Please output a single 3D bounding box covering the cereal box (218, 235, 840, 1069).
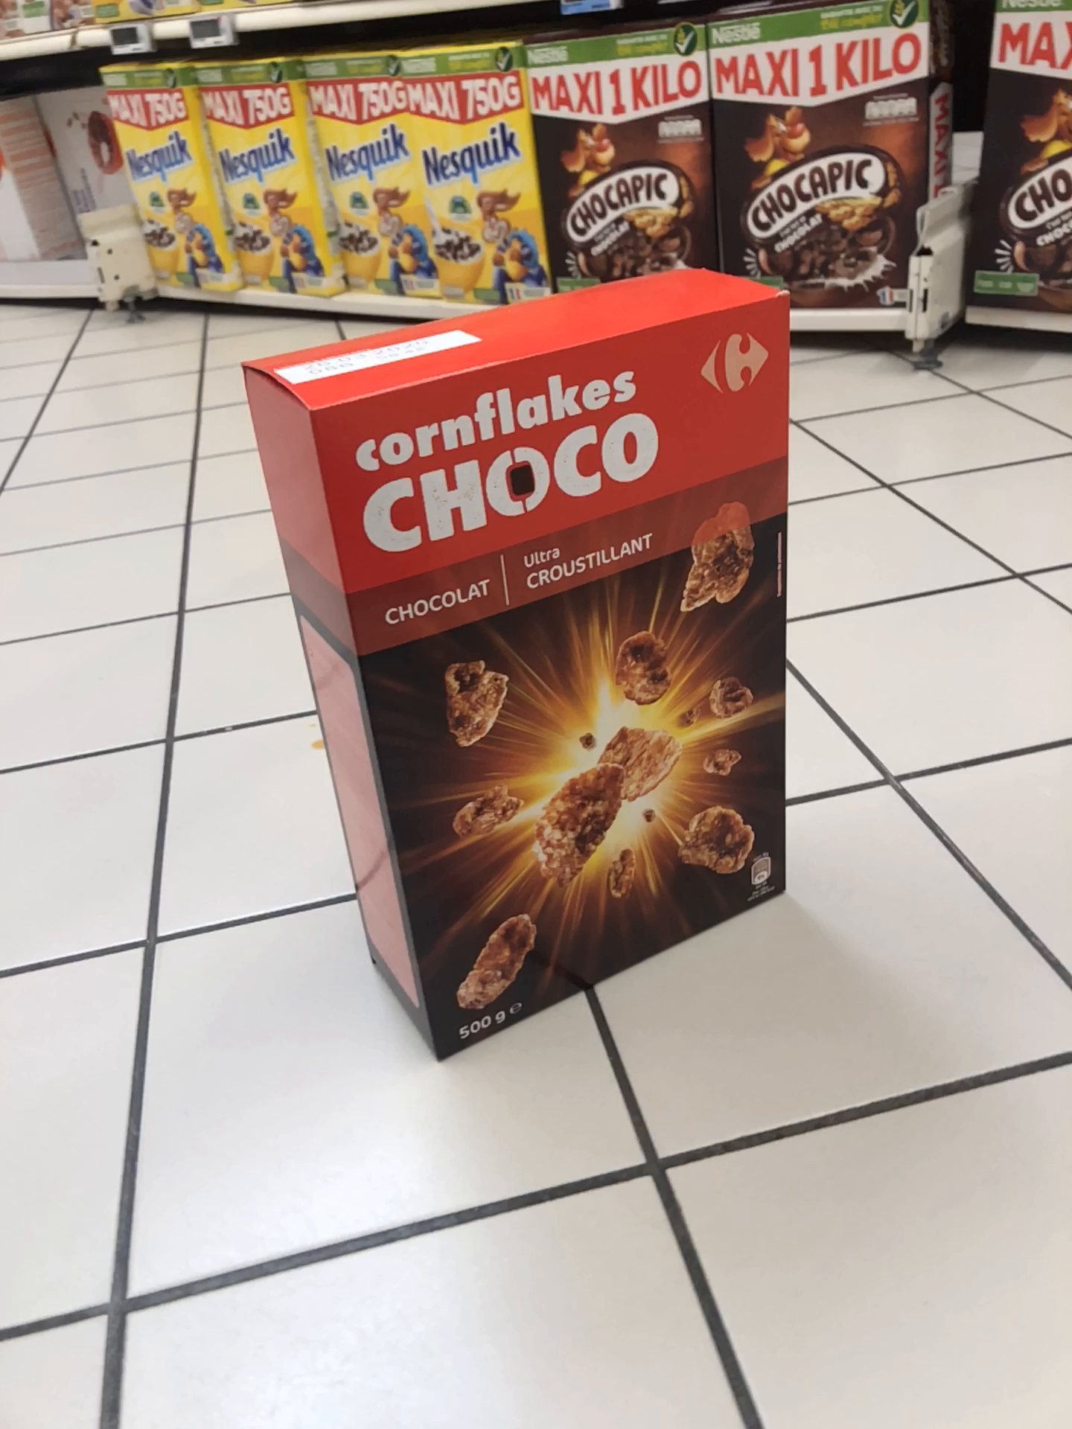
[{"bbox_3d":[0.012,-0.027,0.482,0.201,0.278,0.090,-21,33,-23],"label":"cereal box"}]
